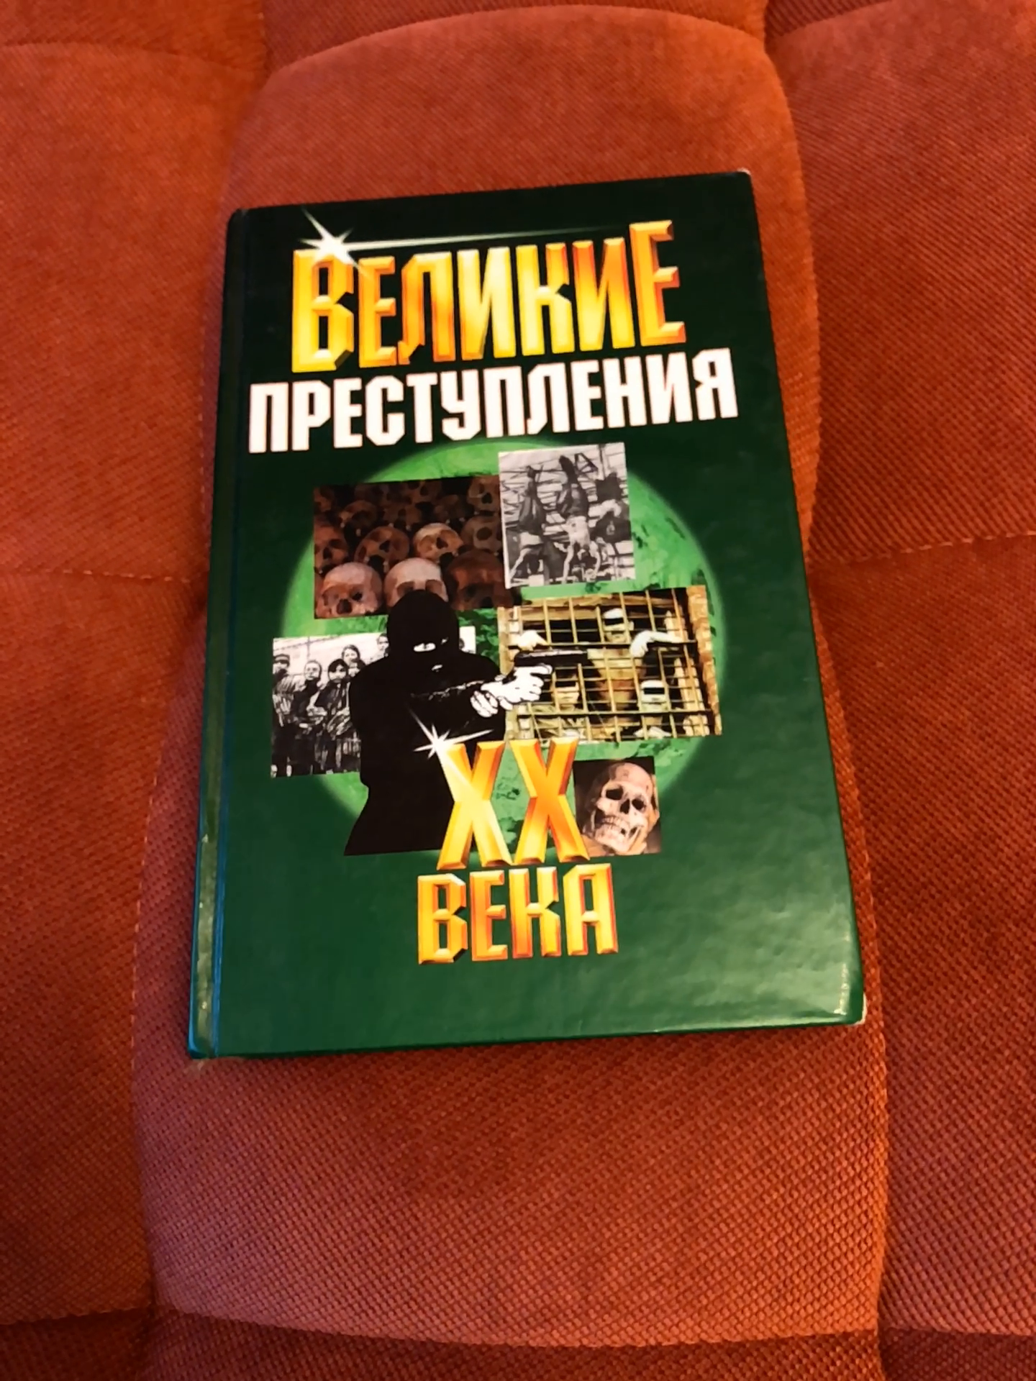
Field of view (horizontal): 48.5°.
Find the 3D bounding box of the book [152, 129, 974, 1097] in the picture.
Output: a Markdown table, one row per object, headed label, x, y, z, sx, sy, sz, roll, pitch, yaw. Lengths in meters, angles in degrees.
| label | x | y | z | sx | sy | sz | roll | pitch | yaw |
| --- | --- | --- | --- | --- | --- | --- | --- | --- | --- |
| book | 0.005 | -0.025 | 0.281 | 0.160 | 0.040 | 0.231 | -3 | 70 | 4 |
